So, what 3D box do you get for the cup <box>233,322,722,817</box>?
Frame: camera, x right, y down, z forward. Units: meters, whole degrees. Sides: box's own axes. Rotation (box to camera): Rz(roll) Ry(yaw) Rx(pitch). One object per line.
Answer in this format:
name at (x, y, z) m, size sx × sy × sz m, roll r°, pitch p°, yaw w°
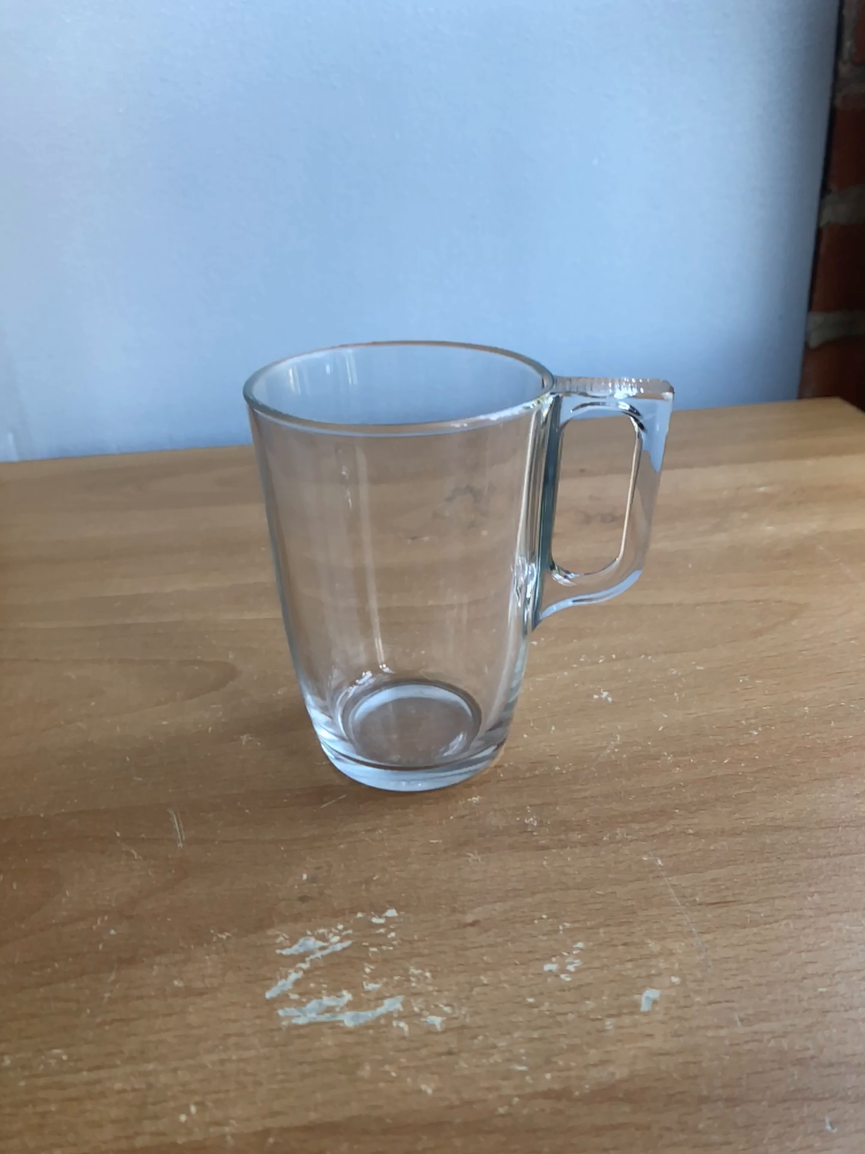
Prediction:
cup at (0.018, -0.007, 0.257) m, size 0.103 × 0.103 × 0.078 m, roll 2°, pitch 27°, yaw 11°
